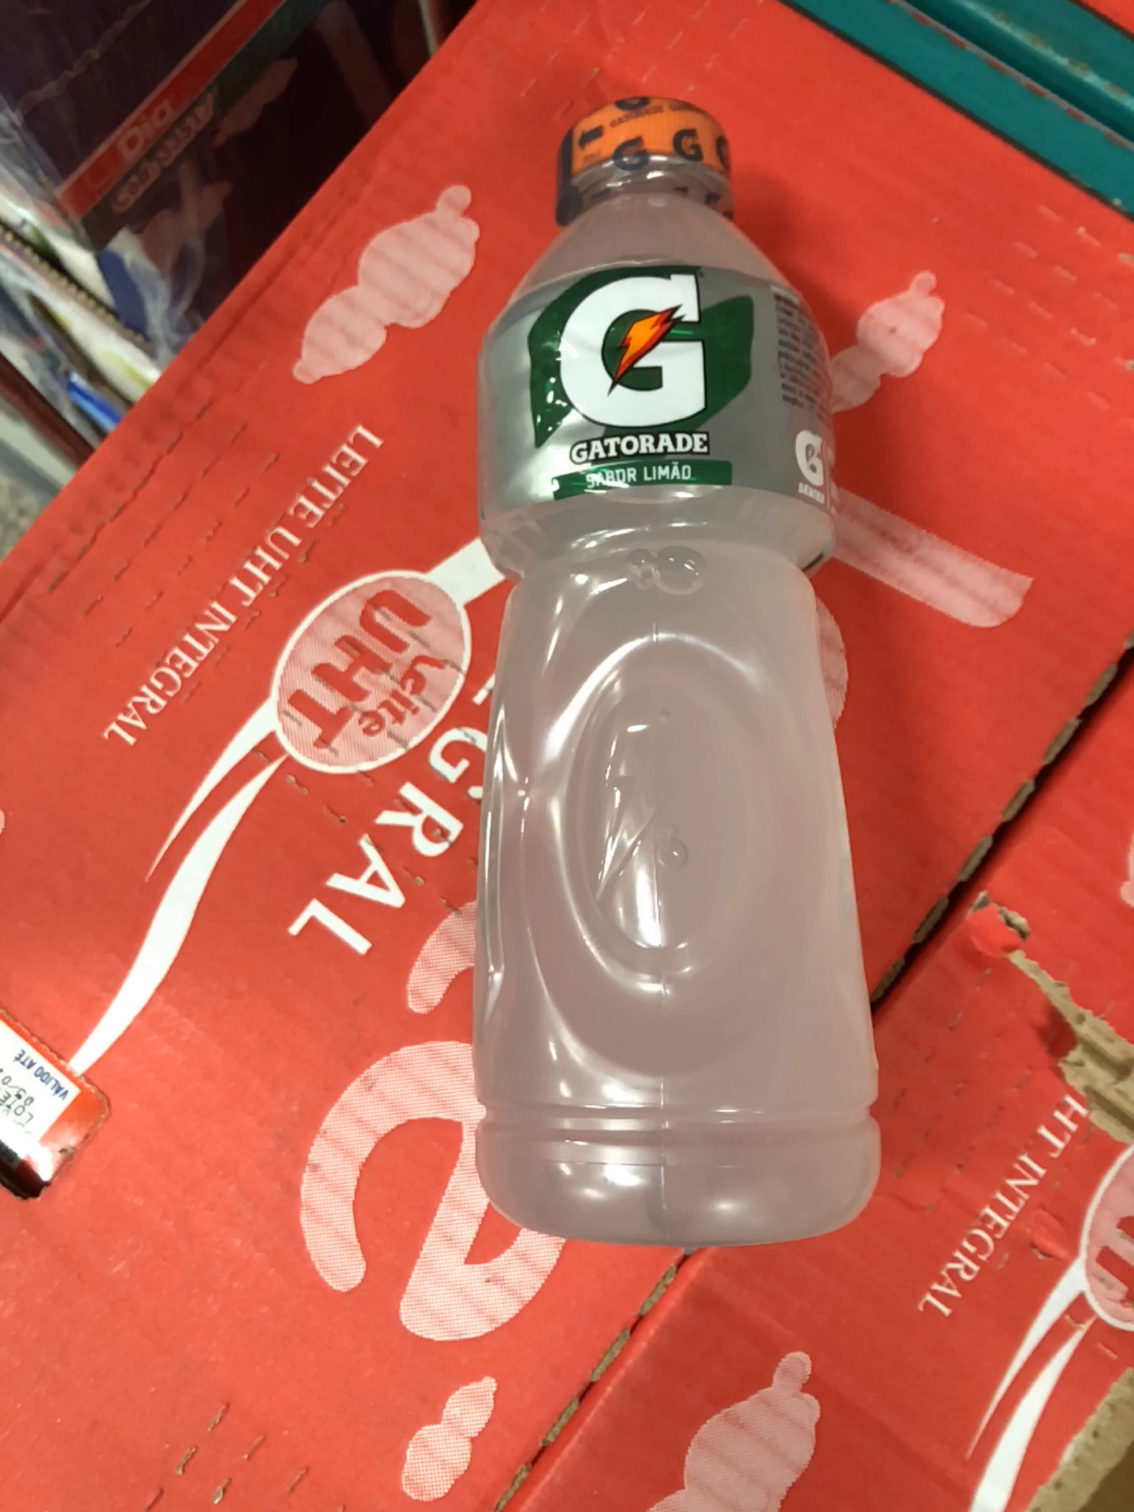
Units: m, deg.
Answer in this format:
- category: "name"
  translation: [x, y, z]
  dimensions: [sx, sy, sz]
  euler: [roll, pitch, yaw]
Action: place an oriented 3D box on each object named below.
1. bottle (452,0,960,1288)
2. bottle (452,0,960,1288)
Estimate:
- category: "bottle"
  translation: [0.019, -0.023, 0.228]
  dimensions: [0.070, 0.060, 0.210]
  euler: [-2, 79, 3]
- category: "bottle"
  translation: [0.019, -0.023, 0.228]
  dimensions: [0.070, 0.060, 0.210]
  euler: [-2, 79, 3]
